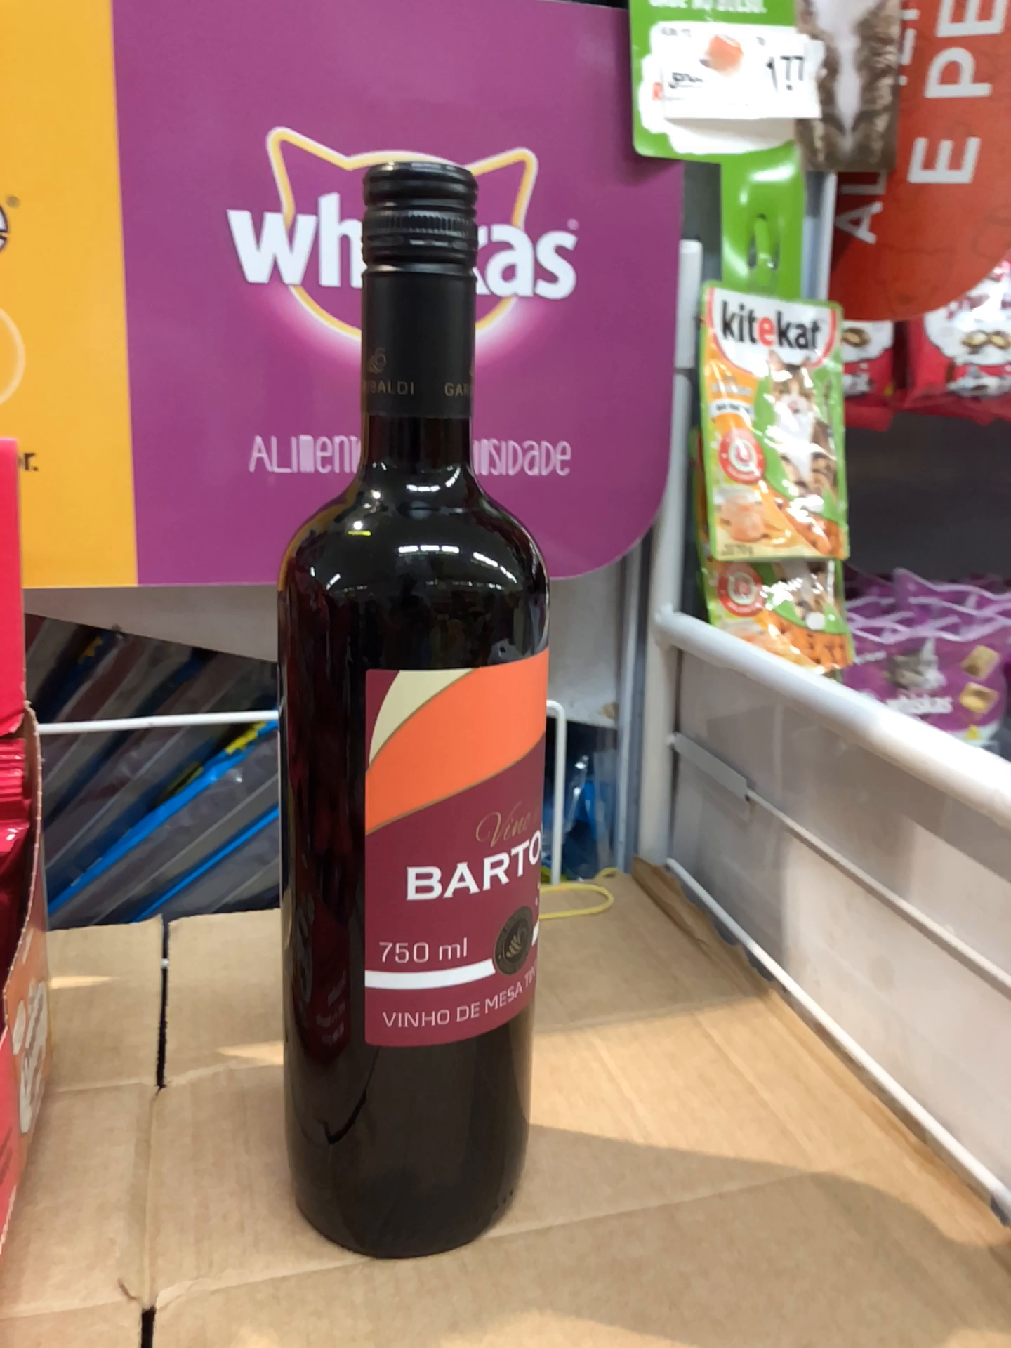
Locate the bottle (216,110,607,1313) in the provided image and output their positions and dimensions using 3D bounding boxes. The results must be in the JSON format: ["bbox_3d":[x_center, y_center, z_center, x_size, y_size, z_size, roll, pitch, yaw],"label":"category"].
[{"bbox_3d":[-0.024,0.015,0.318,0.060,0.299,0.080,11,17,35],"label":"bottle"}]
